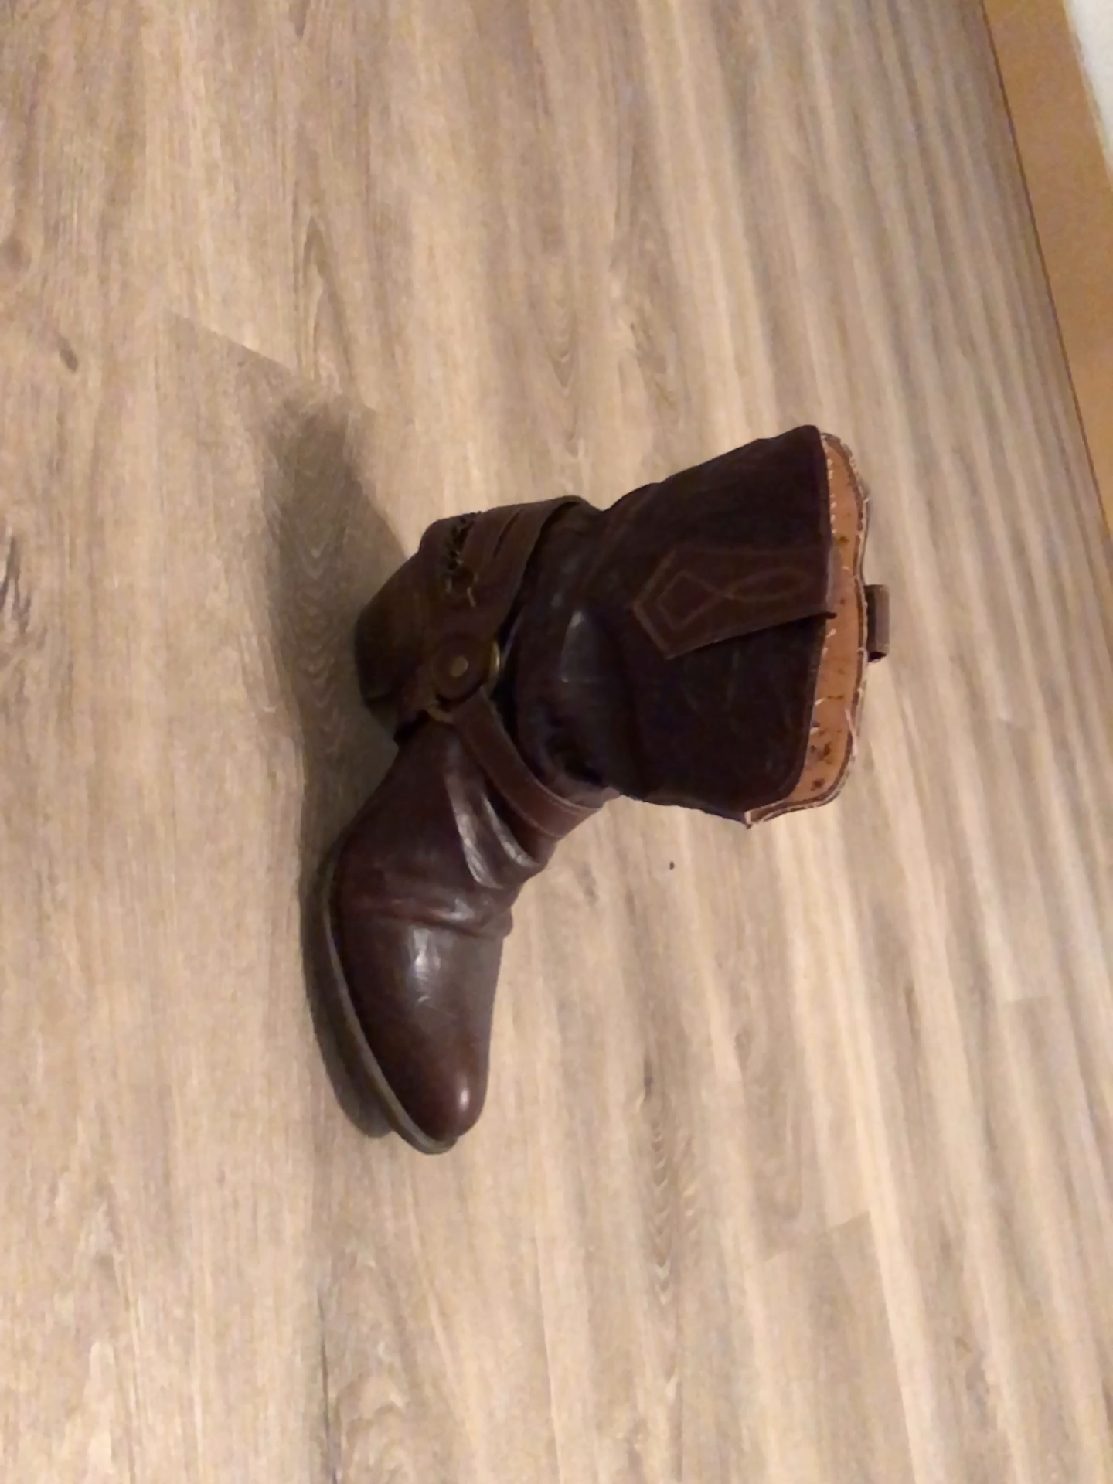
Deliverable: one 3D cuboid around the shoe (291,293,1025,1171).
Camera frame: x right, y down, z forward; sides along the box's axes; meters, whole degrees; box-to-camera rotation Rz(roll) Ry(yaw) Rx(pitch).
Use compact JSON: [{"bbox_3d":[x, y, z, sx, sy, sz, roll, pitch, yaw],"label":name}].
[{"bbox_3d":[0.020,0.014,0.431,0.101,0.209,0.240,18,62,-52],"label":"shoe"}]
